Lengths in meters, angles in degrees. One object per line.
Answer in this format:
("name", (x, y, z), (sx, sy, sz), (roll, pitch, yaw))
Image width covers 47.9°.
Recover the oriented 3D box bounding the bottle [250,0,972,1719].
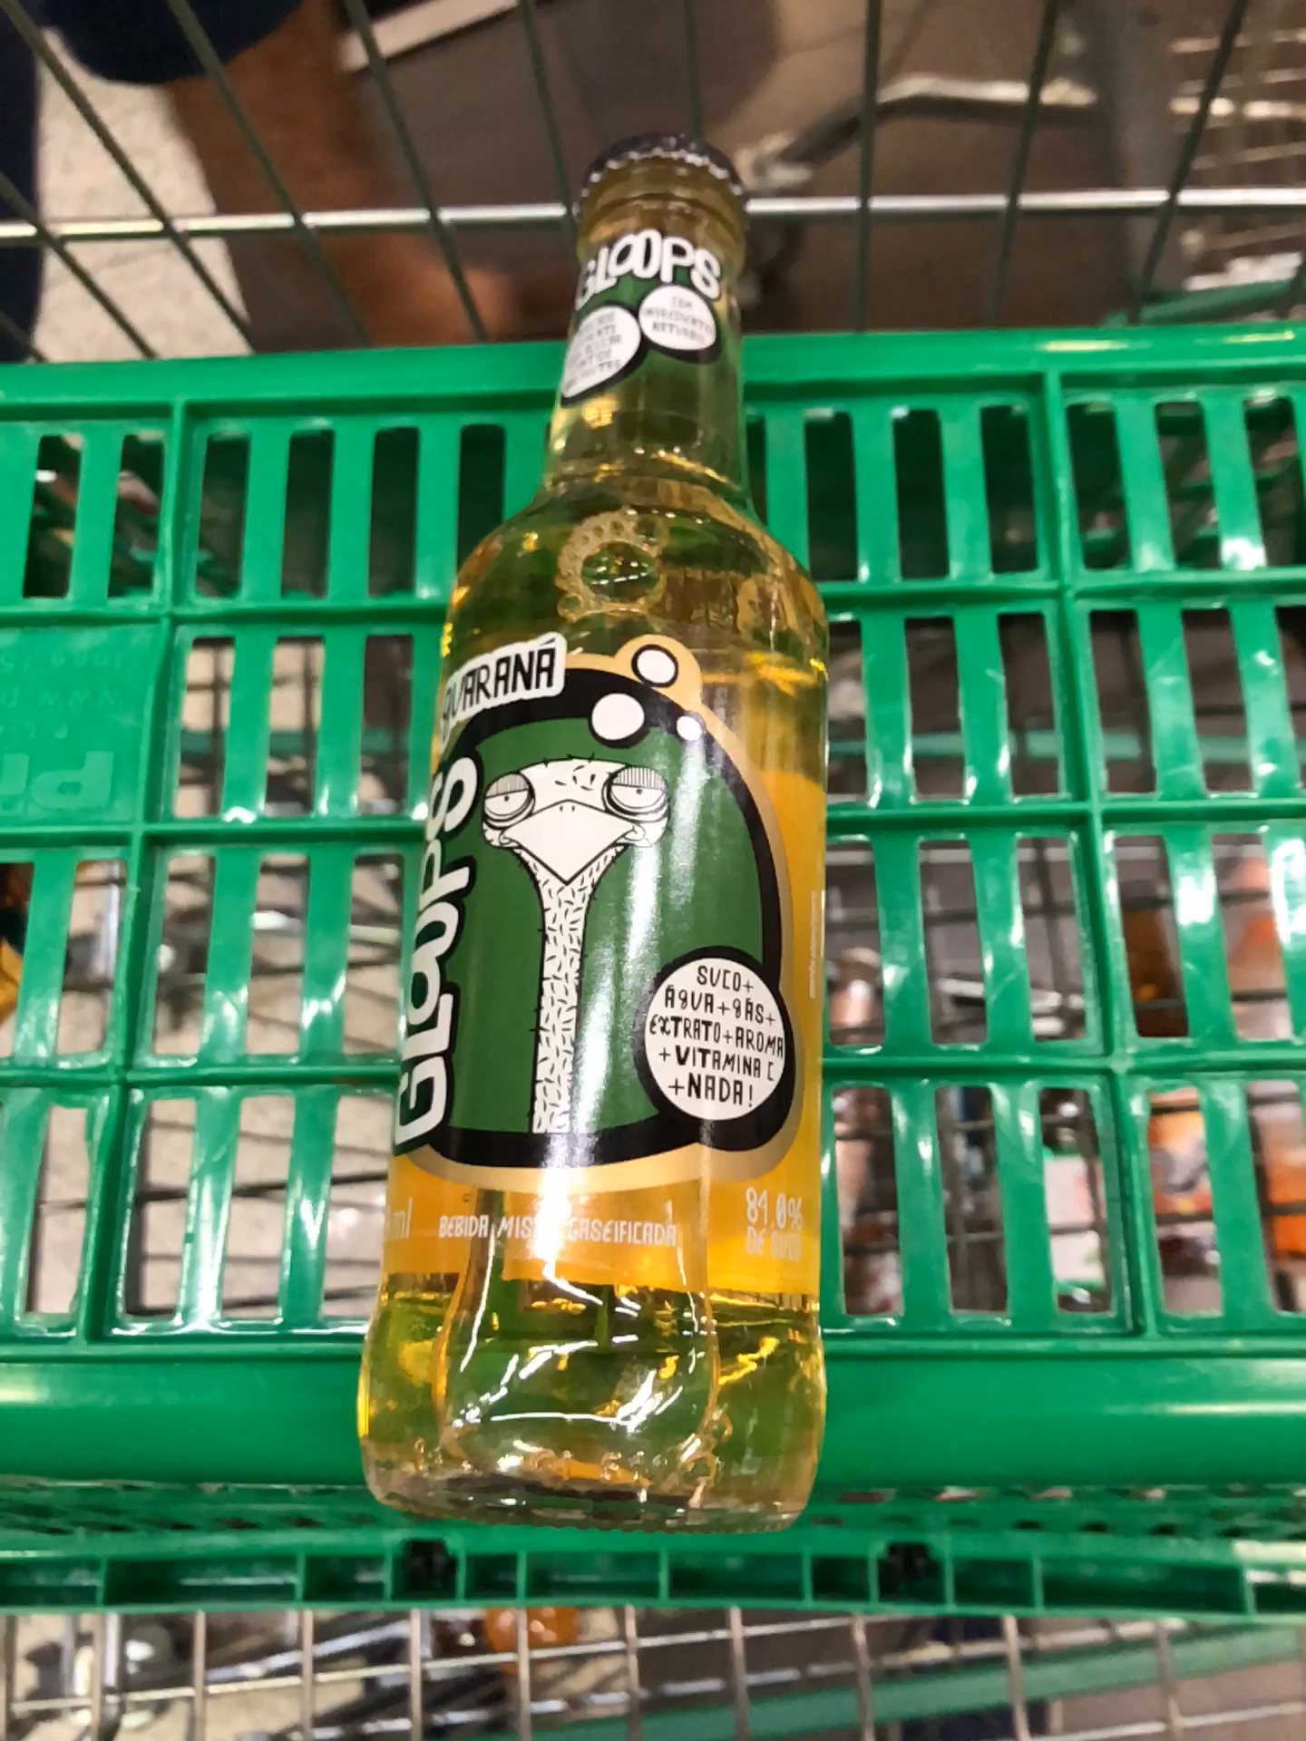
("bottle", (0.001, -0.017, 0.203), (0.070, 0.060, 0.220), (1, 73, 4))
